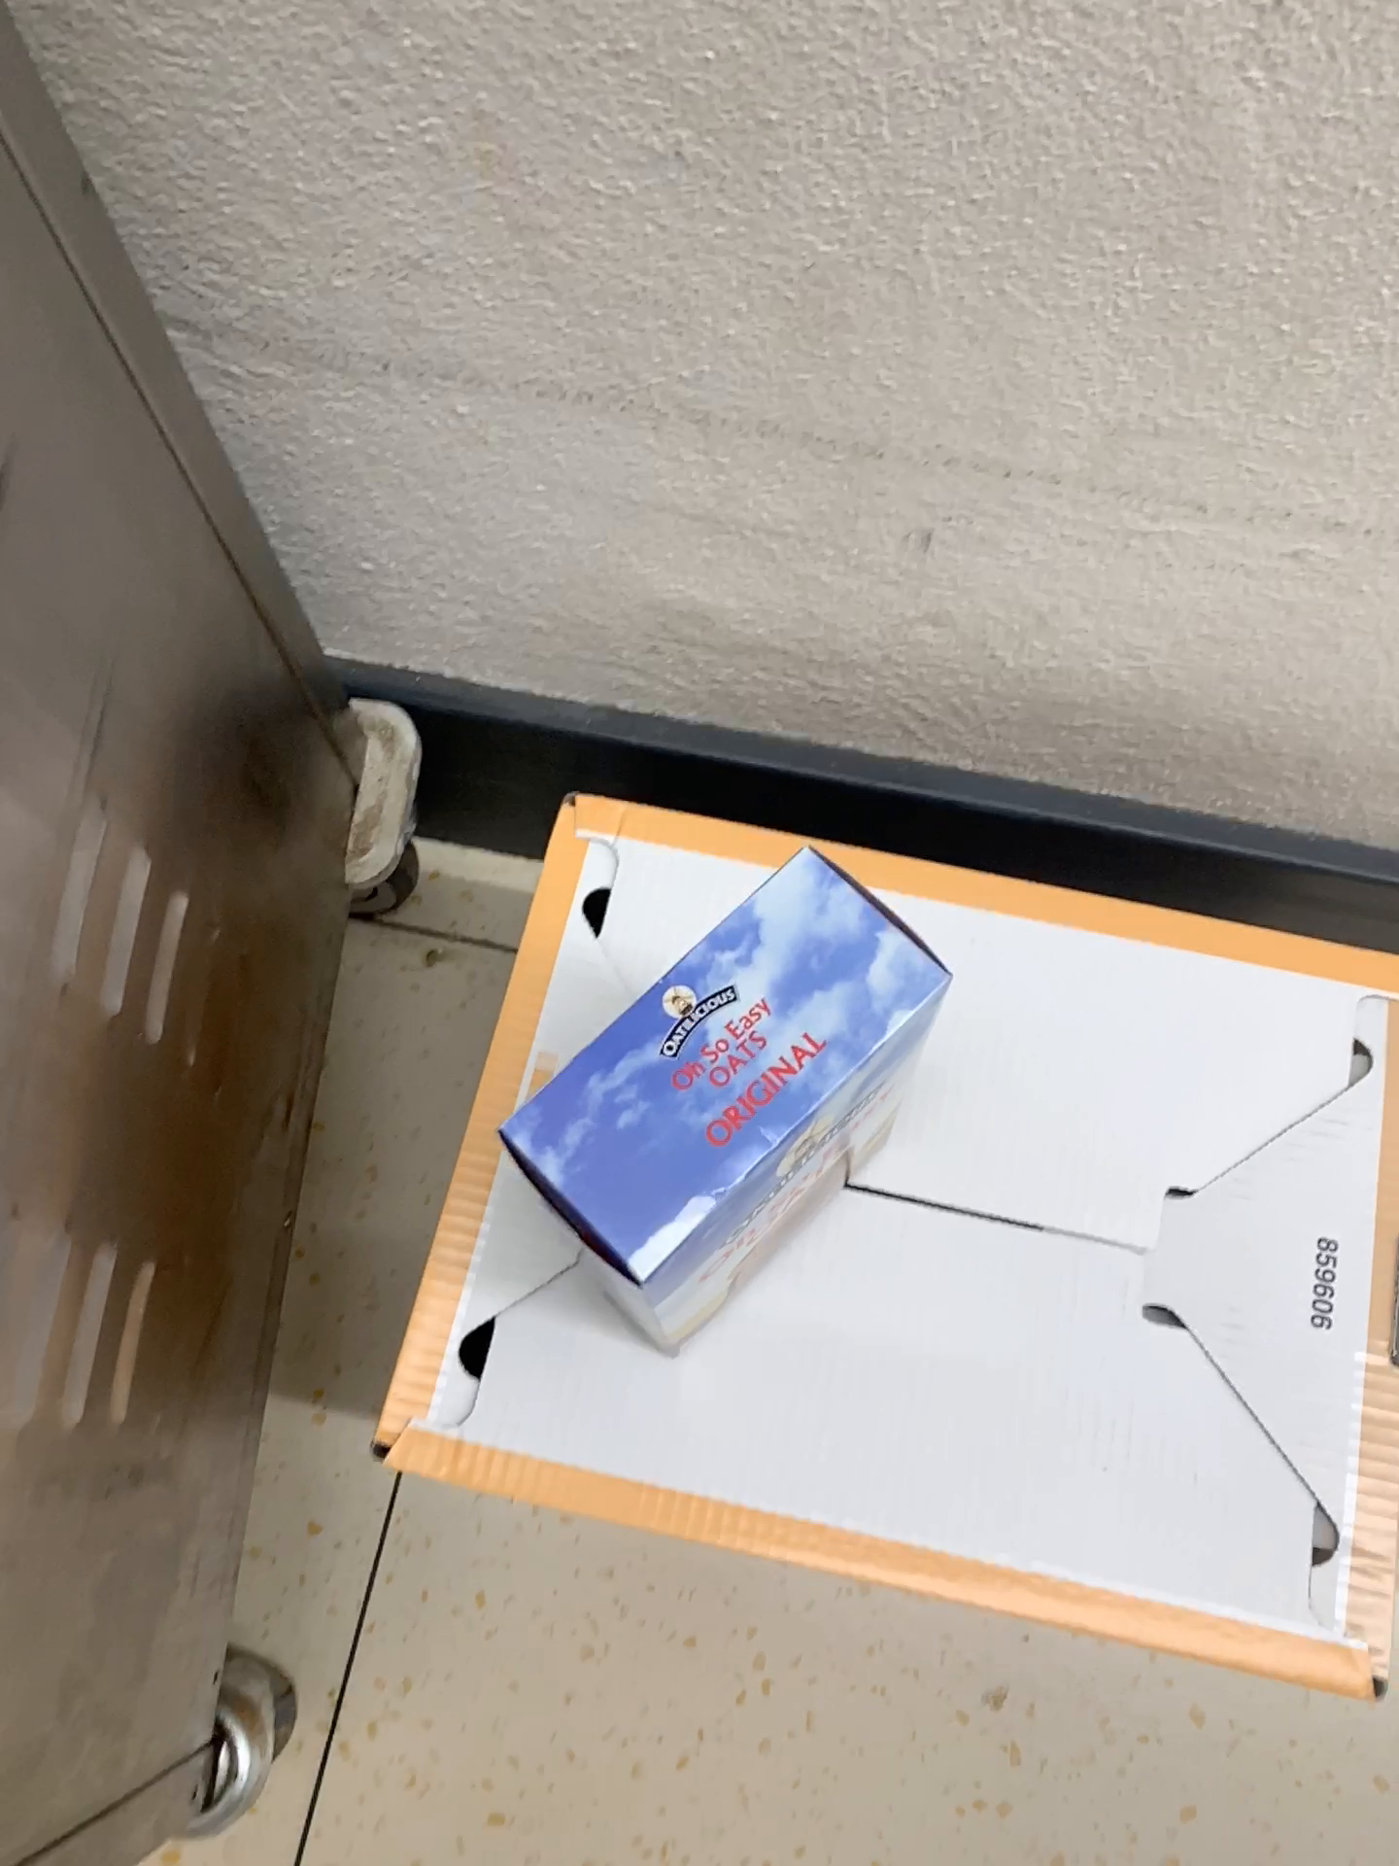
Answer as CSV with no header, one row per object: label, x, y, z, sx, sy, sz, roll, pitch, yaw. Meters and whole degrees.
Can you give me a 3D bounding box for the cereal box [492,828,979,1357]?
cereal box,0.014,0.070,0.500,0.130,0.219,0.060,-42,74,-13
